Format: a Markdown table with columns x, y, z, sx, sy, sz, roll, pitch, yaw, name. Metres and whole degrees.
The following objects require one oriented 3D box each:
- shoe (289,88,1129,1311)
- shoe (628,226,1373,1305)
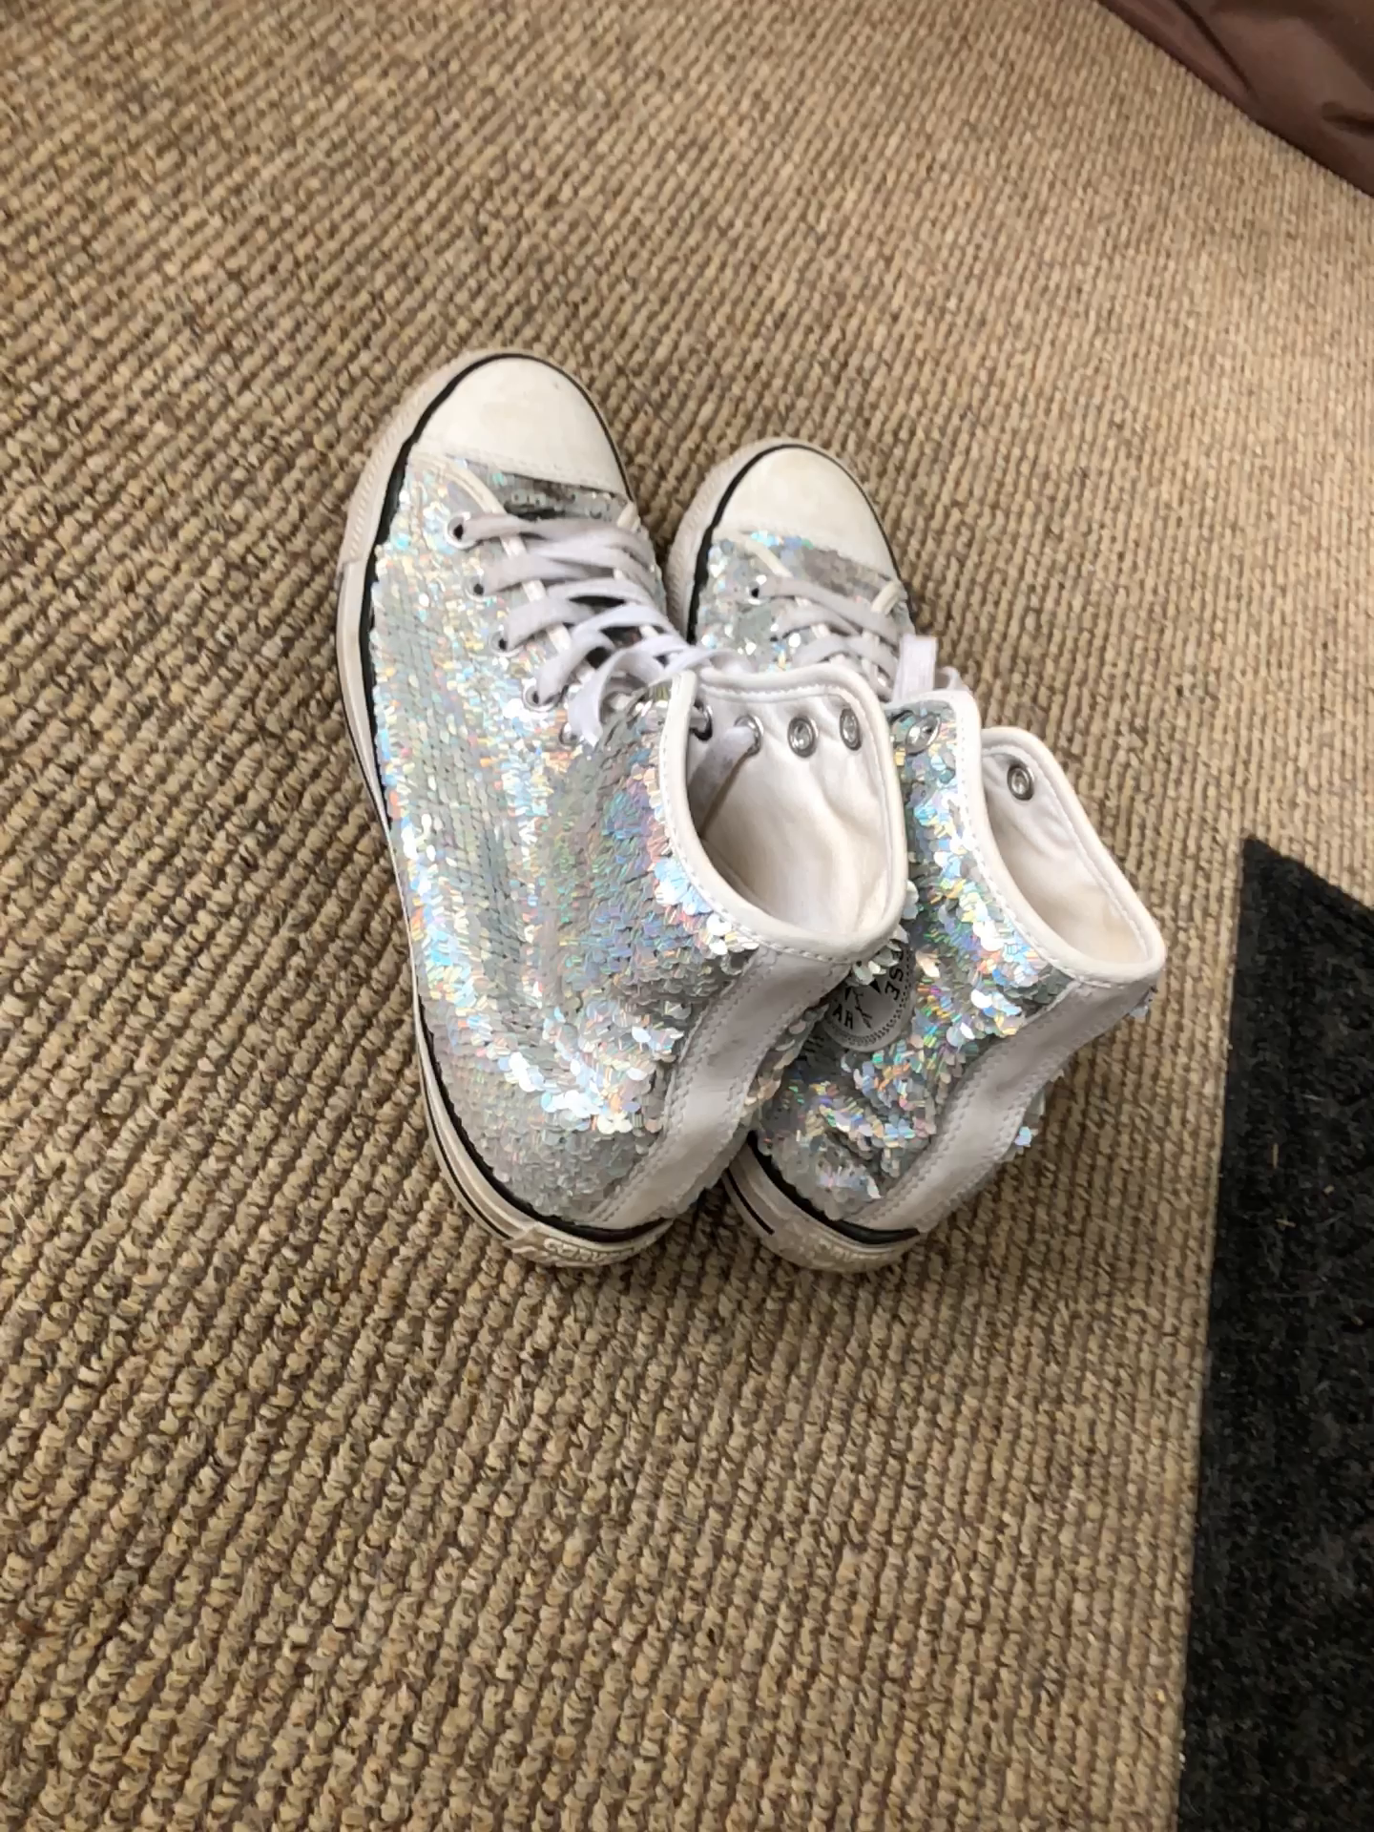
| x | y | z | sx | sy | sz | roll | pitch | yaw | name |
| --- | --- | --- | --- | --- | --- | --- | --- | --- | --- |
| -0.015 | -0.052 | 0.398 | 0.112 | 0.137 | 0.264 | 2 | 61 | -31 | shoe |
| 0.070 | -0.040 | 0.436 | 0.112 | 0.127 | 0.264 | 11 | 57 | -27 | shoe |
